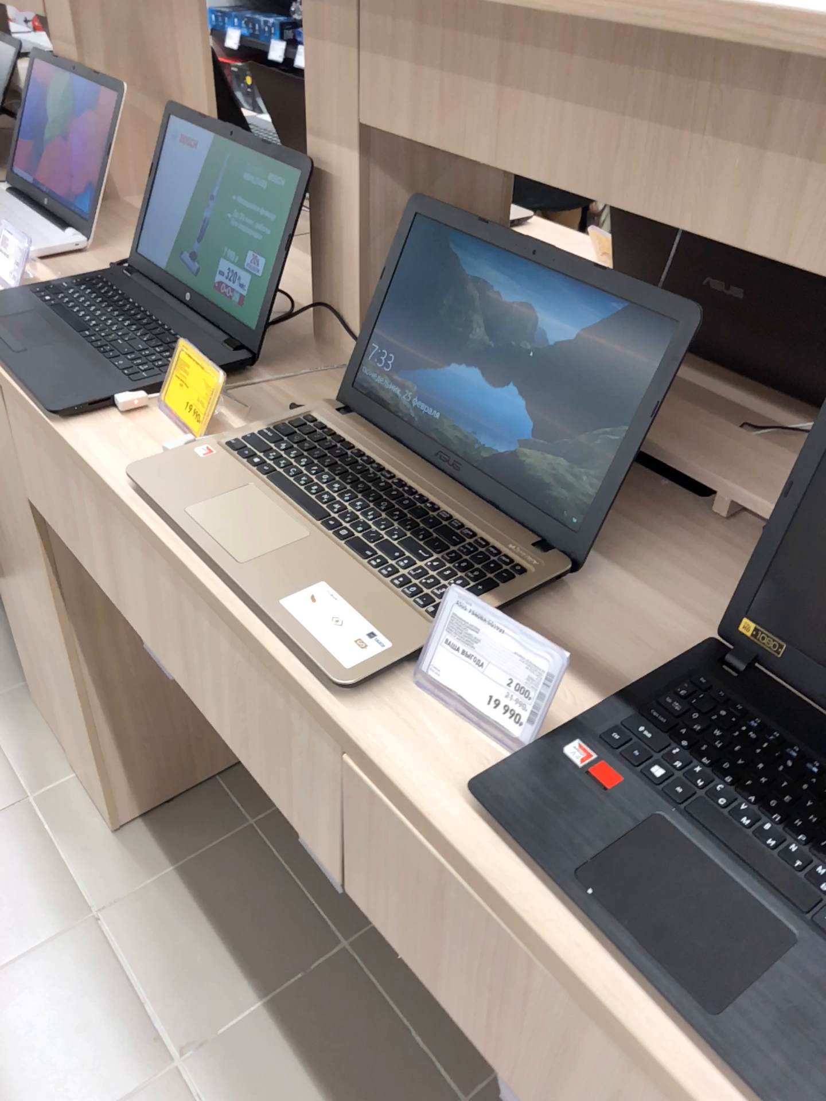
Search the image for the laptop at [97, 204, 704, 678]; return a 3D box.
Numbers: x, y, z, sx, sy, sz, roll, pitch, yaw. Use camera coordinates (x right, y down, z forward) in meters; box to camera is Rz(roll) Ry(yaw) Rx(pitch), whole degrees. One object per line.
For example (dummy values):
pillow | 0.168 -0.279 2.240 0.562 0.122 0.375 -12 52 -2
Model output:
laptop | -0.024 -0.136 0.821 0.350 0.208 0.367 -24 42 -31
